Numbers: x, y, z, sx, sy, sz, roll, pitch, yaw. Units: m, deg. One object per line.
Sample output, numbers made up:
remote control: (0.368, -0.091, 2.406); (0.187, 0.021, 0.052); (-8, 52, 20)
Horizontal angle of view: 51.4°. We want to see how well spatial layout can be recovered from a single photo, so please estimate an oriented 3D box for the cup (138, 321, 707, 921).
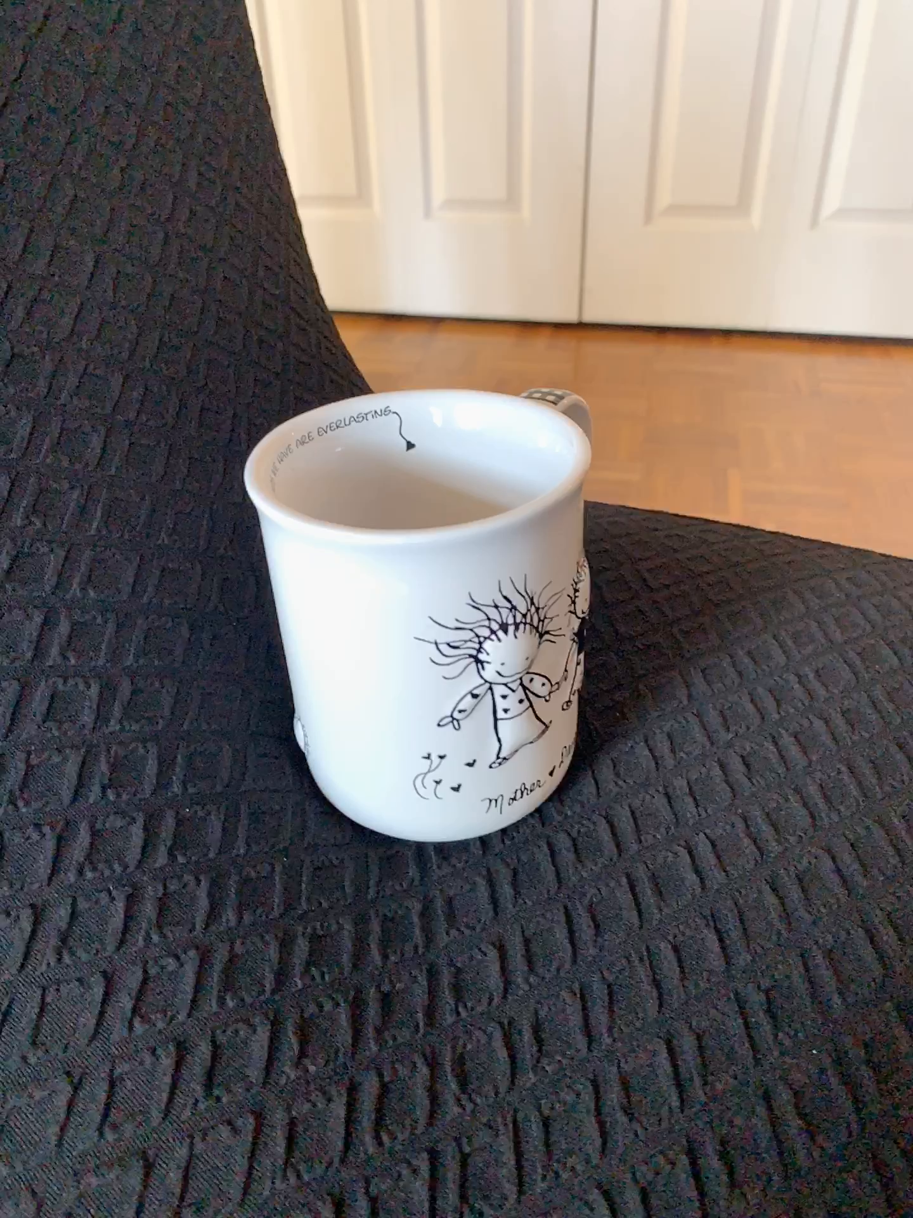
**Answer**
cup: (-0.001, -0.008, 0.302); (0.100, 0.109, 0.140); (20, 41, 27)
